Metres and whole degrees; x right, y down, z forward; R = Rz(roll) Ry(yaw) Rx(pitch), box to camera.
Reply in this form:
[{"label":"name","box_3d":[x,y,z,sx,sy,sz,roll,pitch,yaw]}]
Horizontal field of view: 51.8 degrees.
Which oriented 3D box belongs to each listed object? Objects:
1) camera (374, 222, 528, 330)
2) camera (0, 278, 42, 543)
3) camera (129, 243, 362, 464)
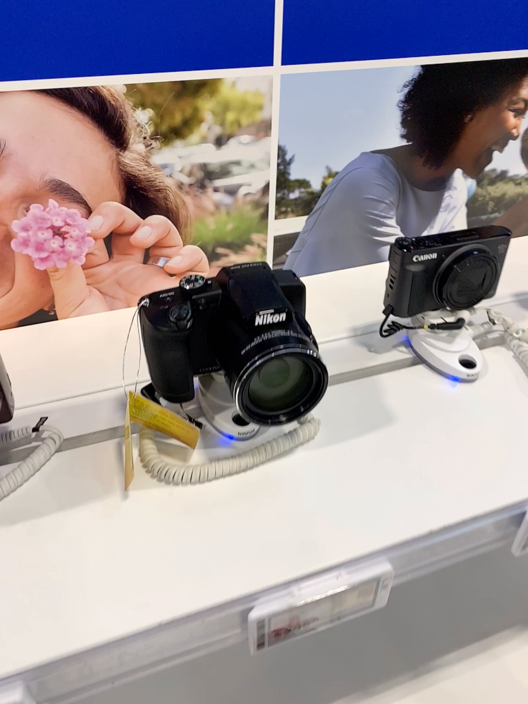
[{"label":"camera","box_3d":[0.166,-0.068,0.477,0.120,0.060,0.050,-12,38,-15]},{"label":"camera","box_3d":[-0.213,0.027,0.327,0.130,0.080,0.111,-12,38,-15]},{"label":"camera","box_3d":[-0.017,-0.006,0.369,0.120,0.080,0.111,-12,38,-15]}]
